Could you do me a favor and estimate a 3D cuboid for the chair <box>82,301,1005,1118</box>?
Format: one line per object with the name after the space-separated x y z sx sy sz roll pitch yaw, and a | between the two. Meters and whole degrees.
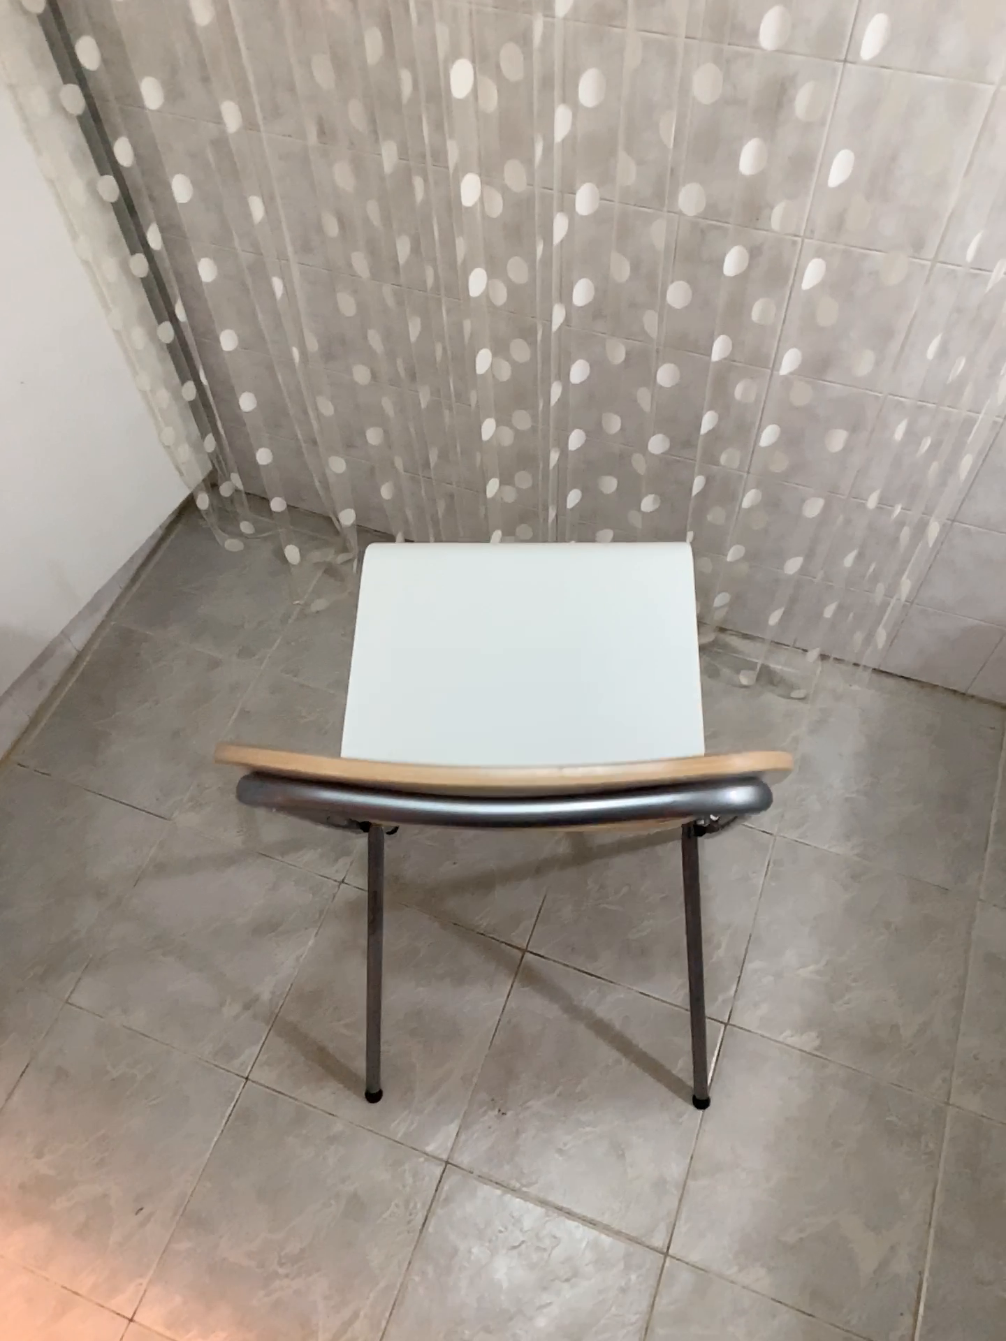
0.039 0.166 1.139 0.537 1.010 0.467 0 58 2 | chair
